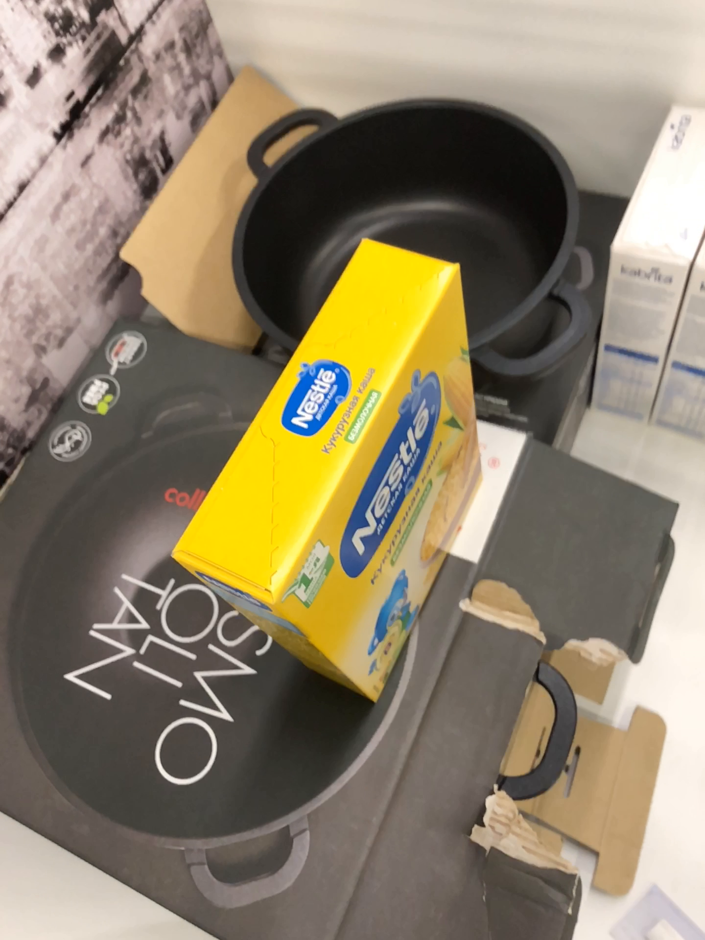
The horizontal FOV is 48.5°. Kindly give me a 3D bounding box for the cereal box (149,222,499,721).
[{"bbox_3d":[0.010,0.019,0.357,0.050,0.199,0.150,22,71,21],"label":"cereal box"}]
